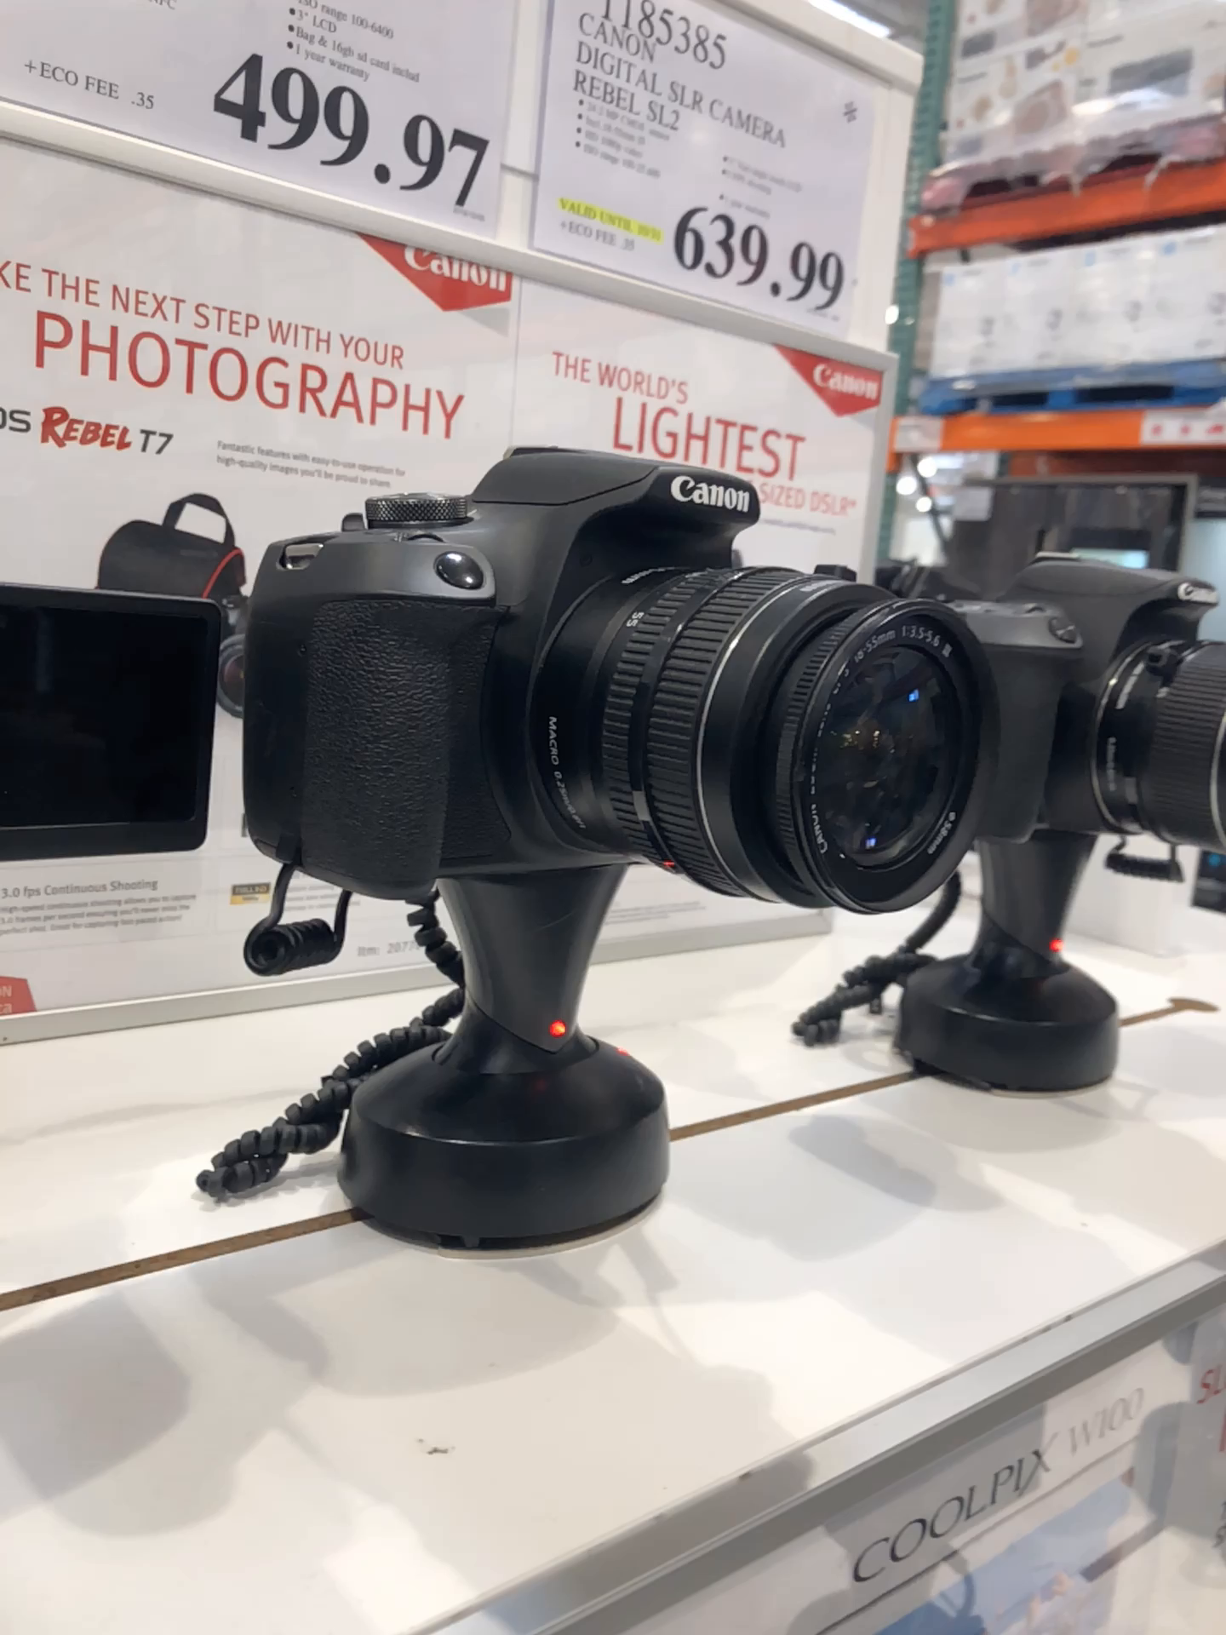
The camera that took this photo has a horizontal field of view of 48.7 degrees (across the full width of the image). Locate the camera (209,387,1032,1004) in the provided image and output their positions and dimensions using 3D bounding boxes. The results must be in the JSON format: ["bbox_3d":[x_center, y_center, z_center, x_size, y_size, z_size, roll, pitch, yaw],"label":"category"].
[{"bbox_3d":[-0.001,-0.031,0.306,0.130,0.100,0.120,-3,12,-42],"label":"camera"}]
